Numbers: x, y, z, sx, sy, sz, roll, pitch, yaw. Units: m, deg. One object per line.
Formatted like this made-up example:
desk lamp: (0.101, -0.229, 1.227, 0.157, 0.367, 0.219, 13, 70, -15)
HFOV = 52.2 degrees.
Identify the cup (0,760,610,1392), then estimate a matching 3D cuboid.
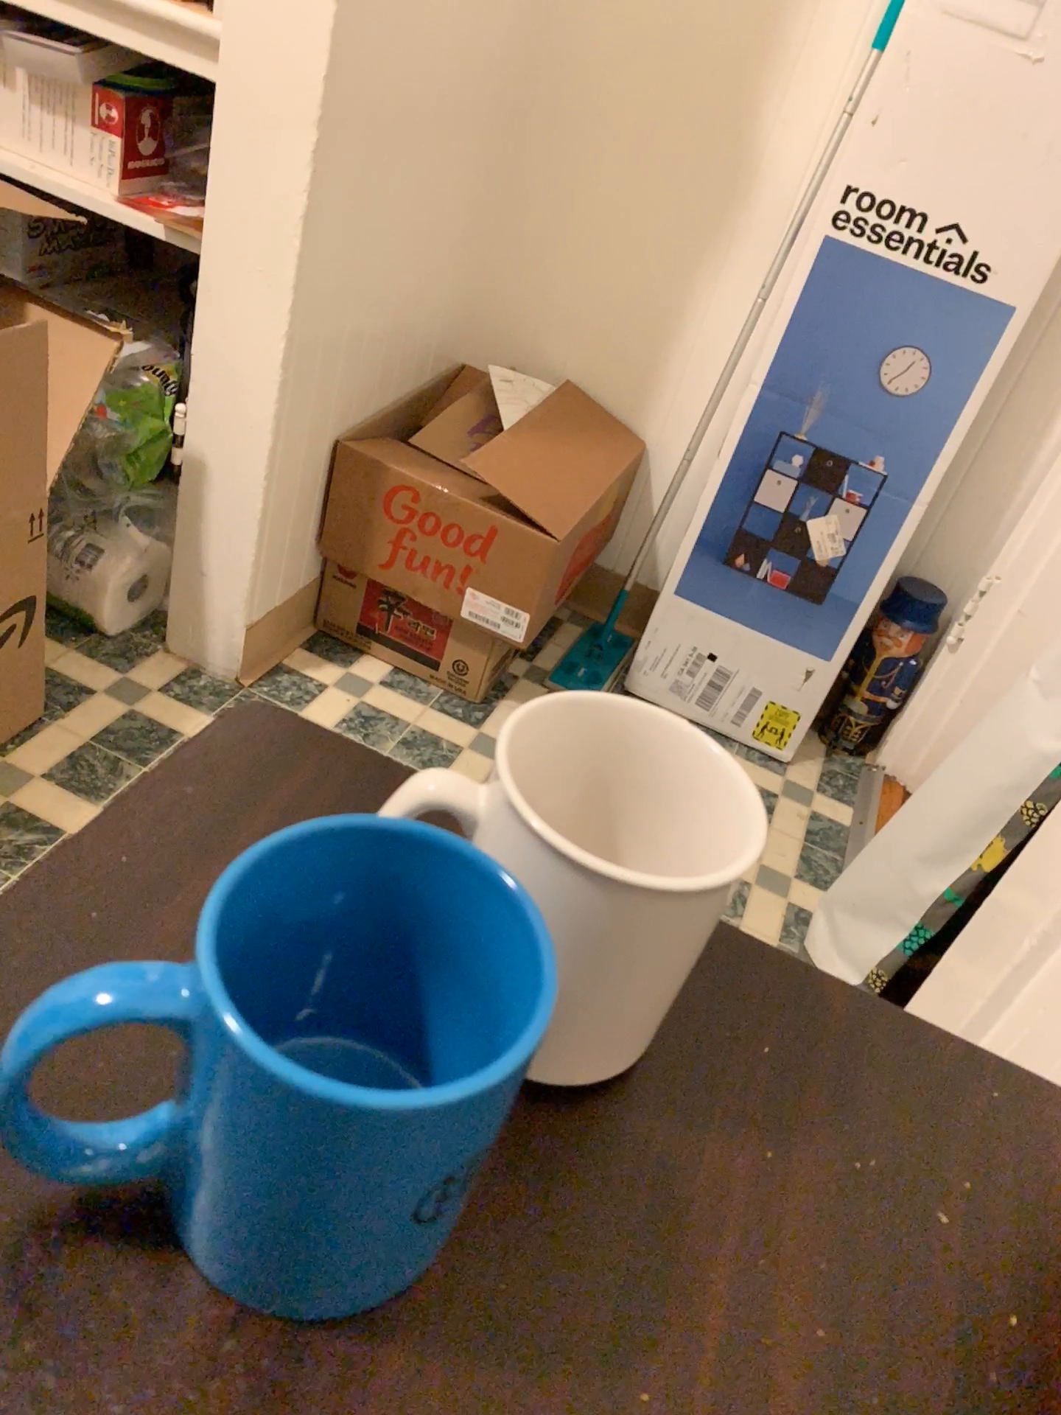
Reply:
cup: (-0.072, 0.085, 0.258, 0.140, 0.099, 0.090, 6, 37, -18)

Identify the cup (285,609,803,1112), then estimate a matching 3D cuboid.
cup: (0.002, 0.046, 0.329, 0.120, 0.089, 0.091, 14, 35, -7)
